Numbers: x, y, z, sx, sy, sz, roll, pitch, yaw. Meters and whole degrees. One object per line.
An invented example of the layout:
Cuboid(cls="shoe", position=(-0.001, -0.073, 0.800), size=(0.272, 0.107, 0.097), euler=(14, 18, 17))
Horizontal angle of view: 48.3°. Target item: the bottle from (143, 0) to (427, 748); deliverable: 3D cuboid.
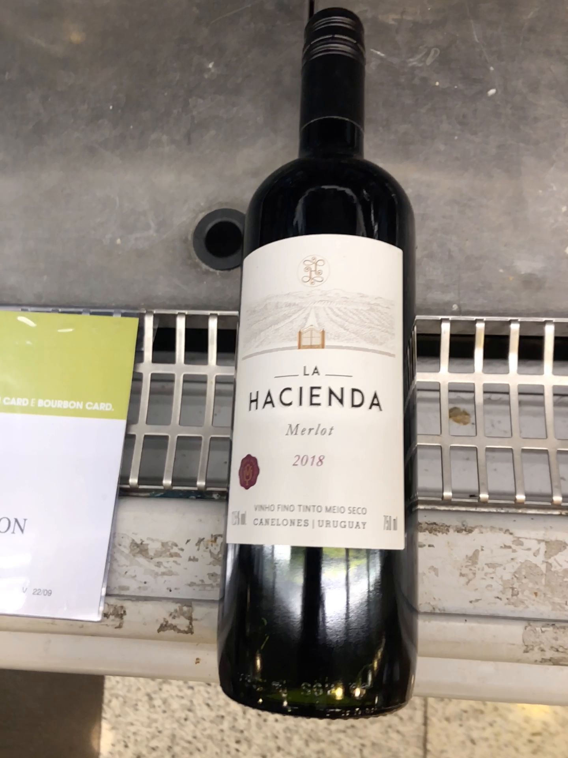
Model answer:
Cuboid(cls="bottle", position=(0.009, -0.036, 0.248), size=(0.080, 0.070, 0.300), euler=(1, 76, 5))
